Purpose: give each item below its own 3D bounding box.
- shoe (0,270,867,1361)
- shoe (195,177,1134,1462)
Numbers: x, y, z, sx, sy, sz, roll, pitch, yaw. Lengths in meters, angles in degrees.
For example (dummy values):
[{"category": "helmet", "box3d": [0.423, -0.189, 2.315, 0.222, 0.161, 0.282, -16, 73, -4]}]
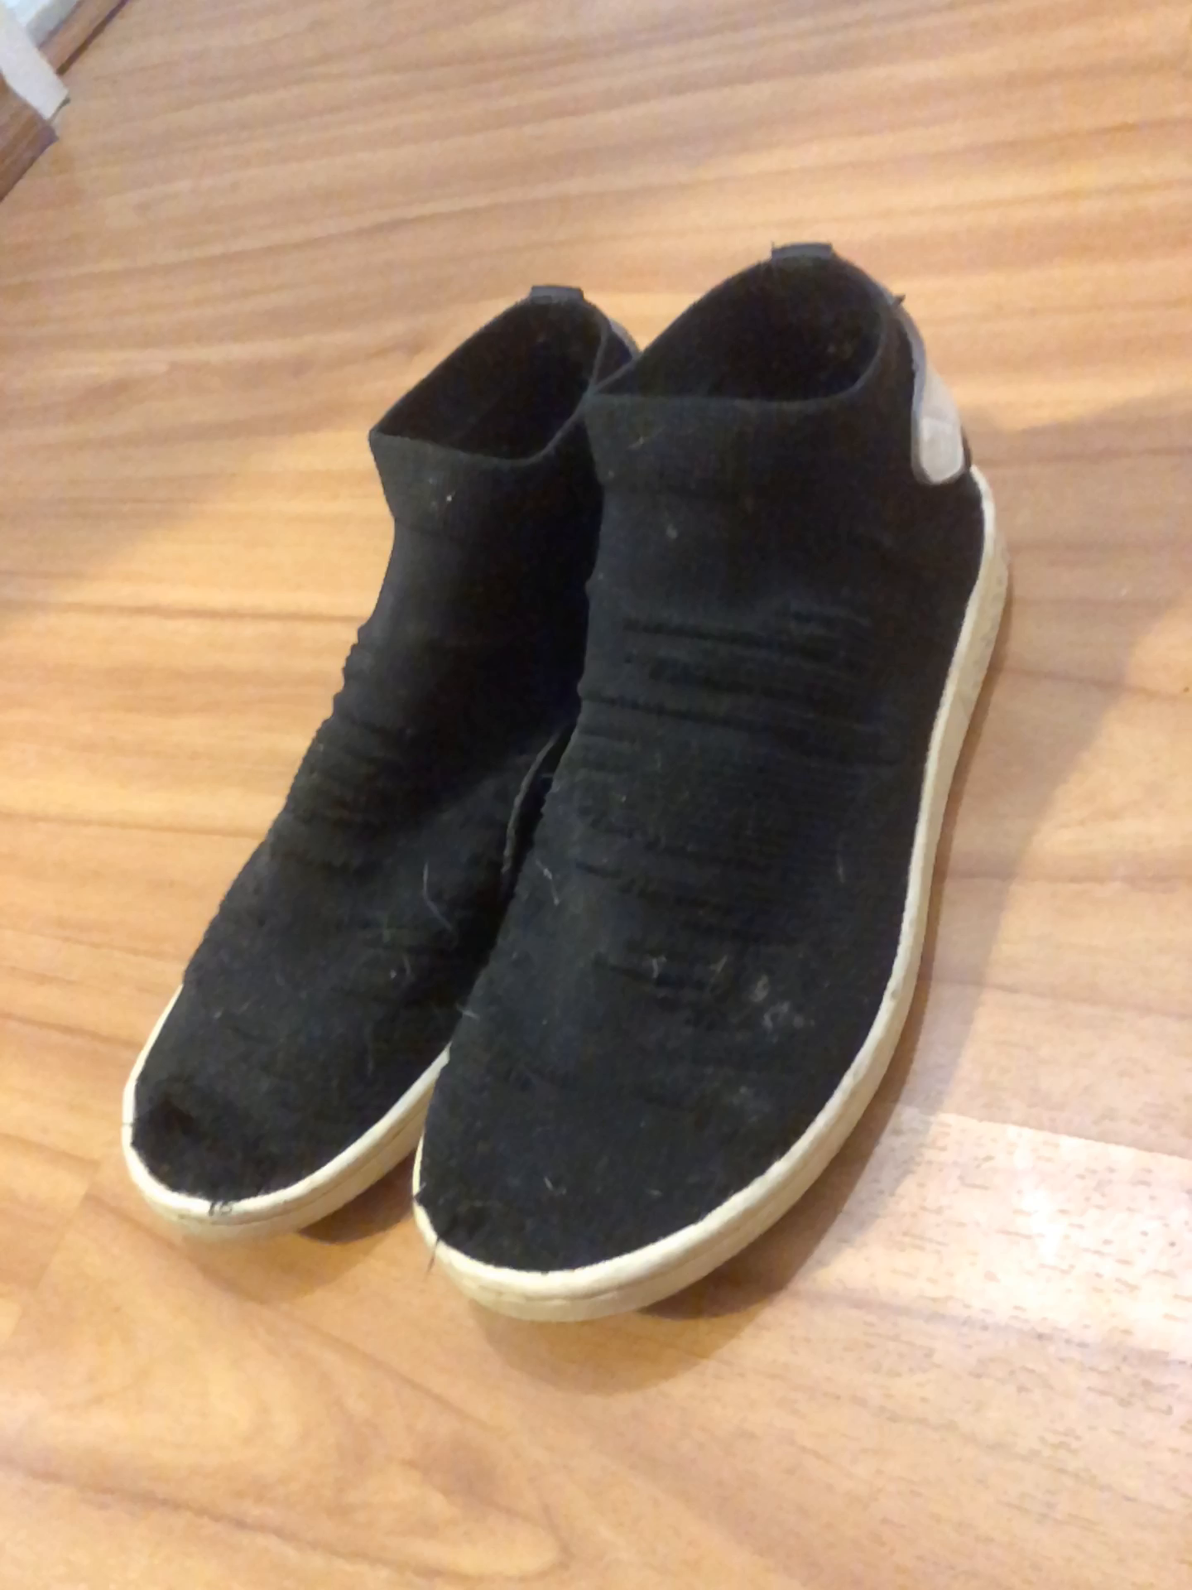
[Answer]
[{"category": "shoe", "box3d": [-0.040, -0.009, 0.350, 0.100, 0.099, 0.260, 18, 66, 34]}, {"category": "shoe", "box3d": [0.039, -0.010, 0.303, 0.100, 0.099, 0.260, 10, 61, 31]}]
